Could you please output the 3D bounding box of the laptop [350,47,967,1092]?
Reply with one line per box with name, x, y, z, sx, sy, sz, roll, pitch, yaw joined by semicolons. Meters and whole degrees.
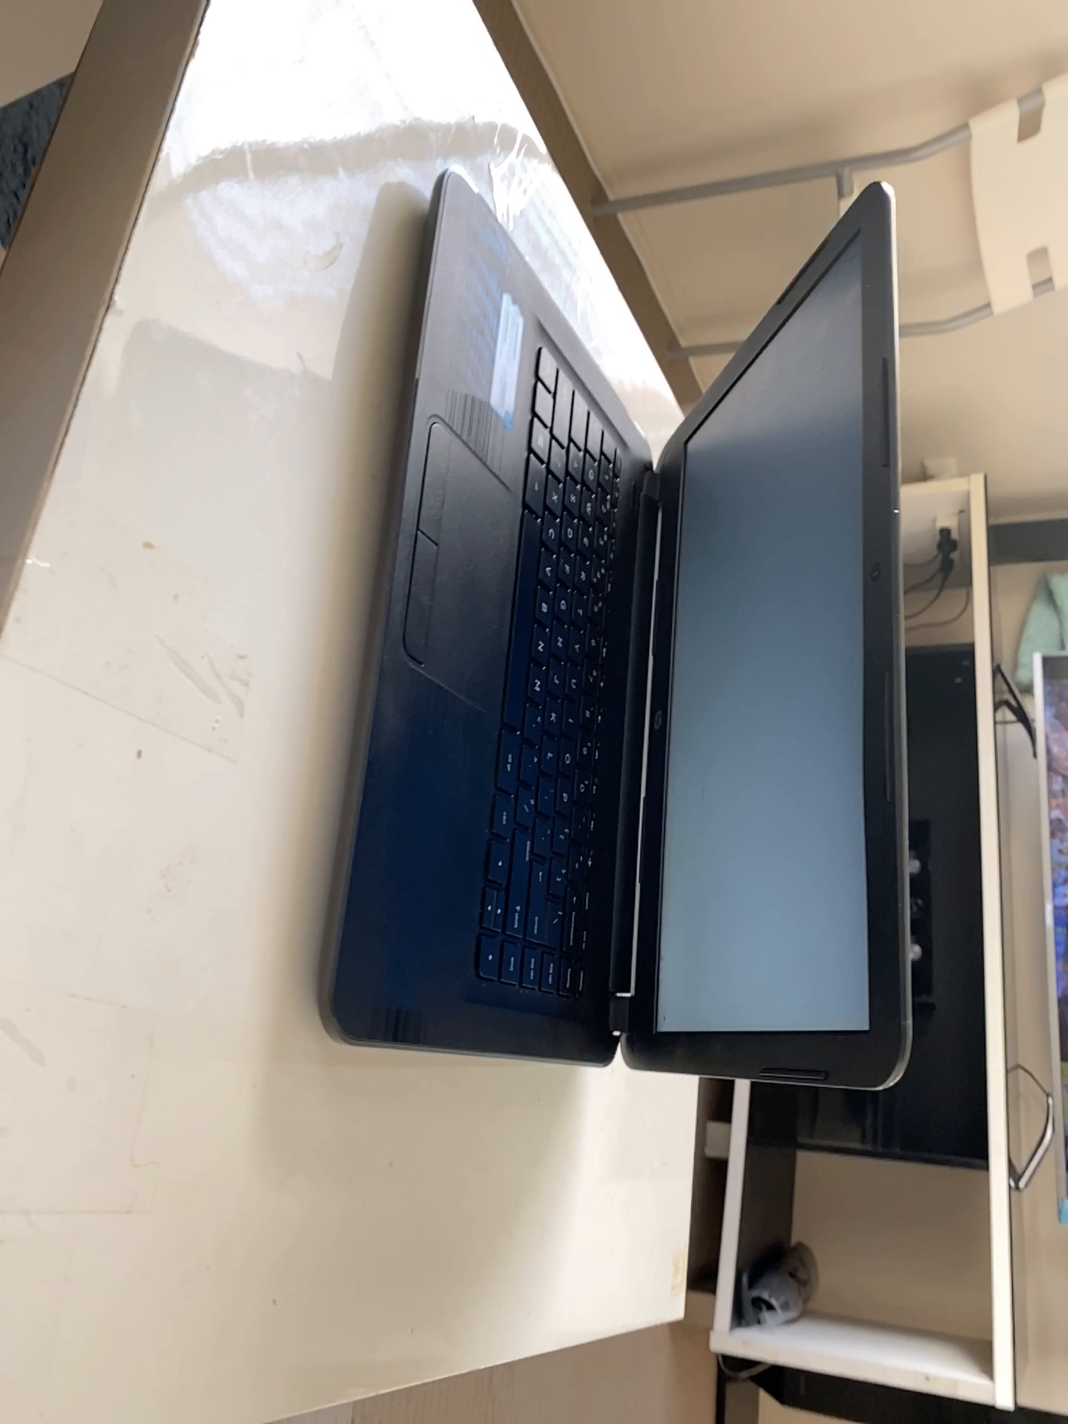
laptop;0.075;-0.030;0.449;0.227;0.154;0.335;35;55;-58
